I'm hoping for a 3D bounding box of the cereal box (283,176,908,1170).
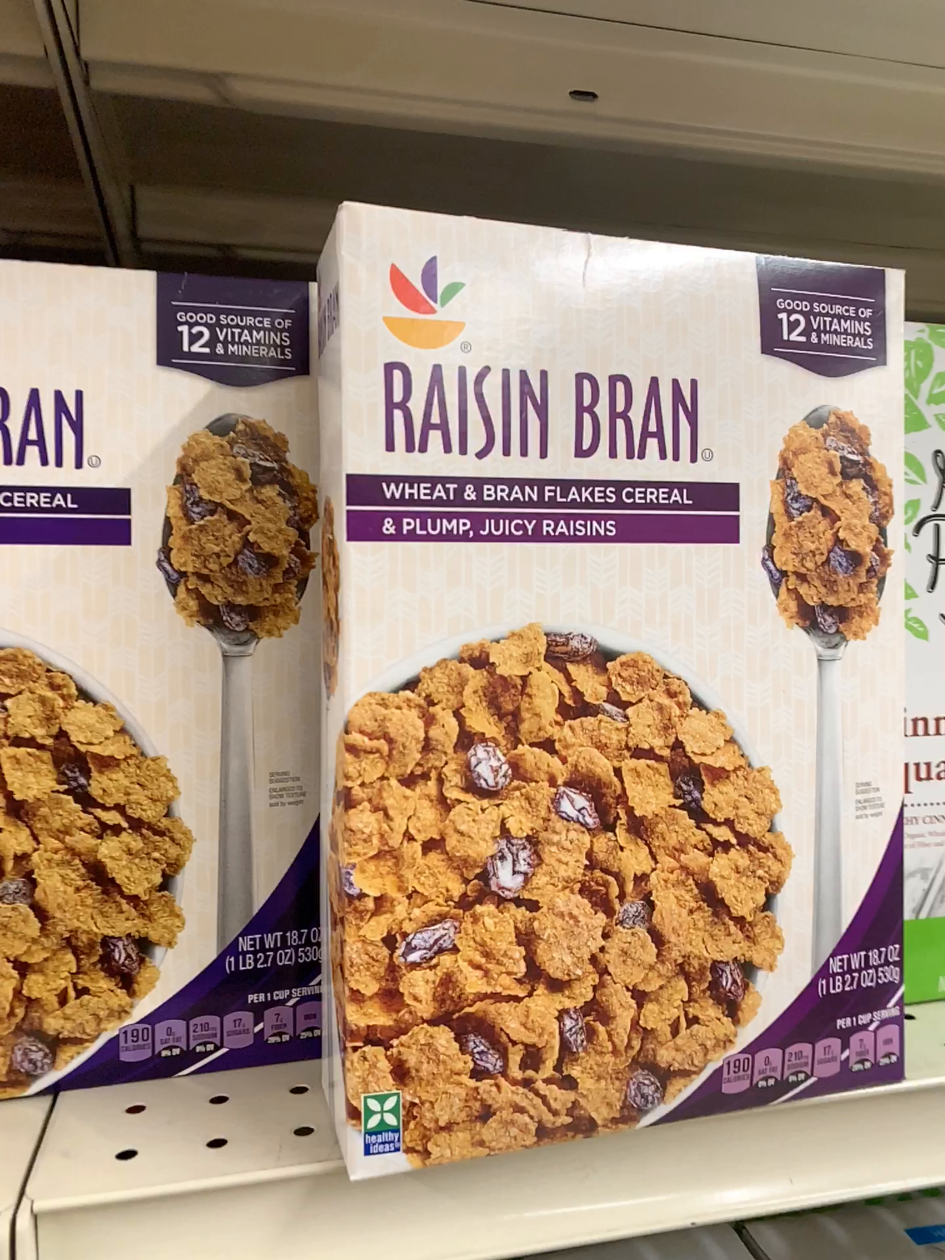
[{"bbox_3d":[0.037,0.011,0.323,0.190,0.270,0.070,-1,3,-16],"label":"cereal box"}]
